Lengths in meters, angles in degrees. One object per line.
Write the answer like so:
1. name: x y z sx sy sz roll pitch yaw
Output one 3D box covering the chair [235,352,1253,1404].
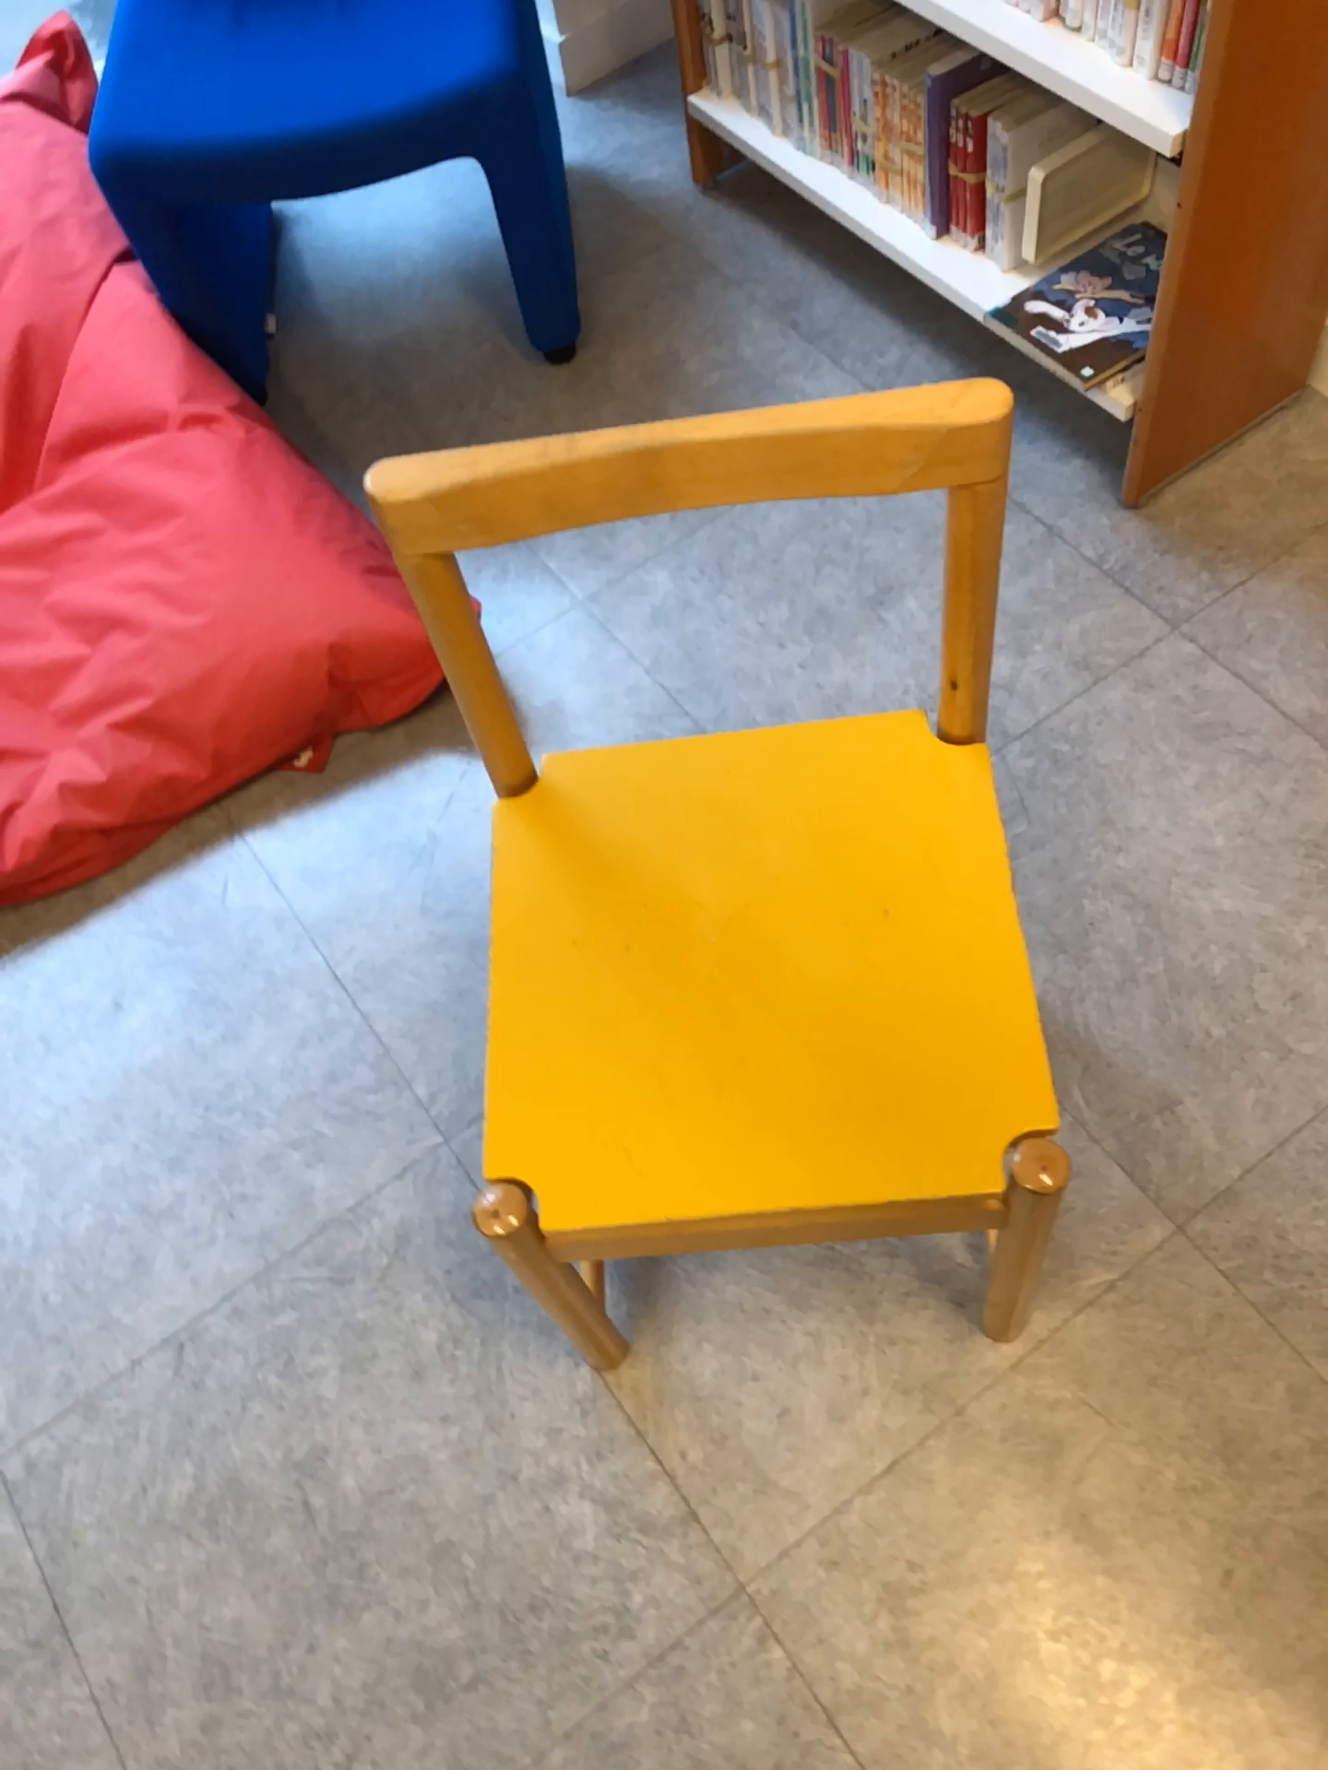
1. chair: 0.062 0.065 1.033 0.450 0.668 0.422 -6 59 5
